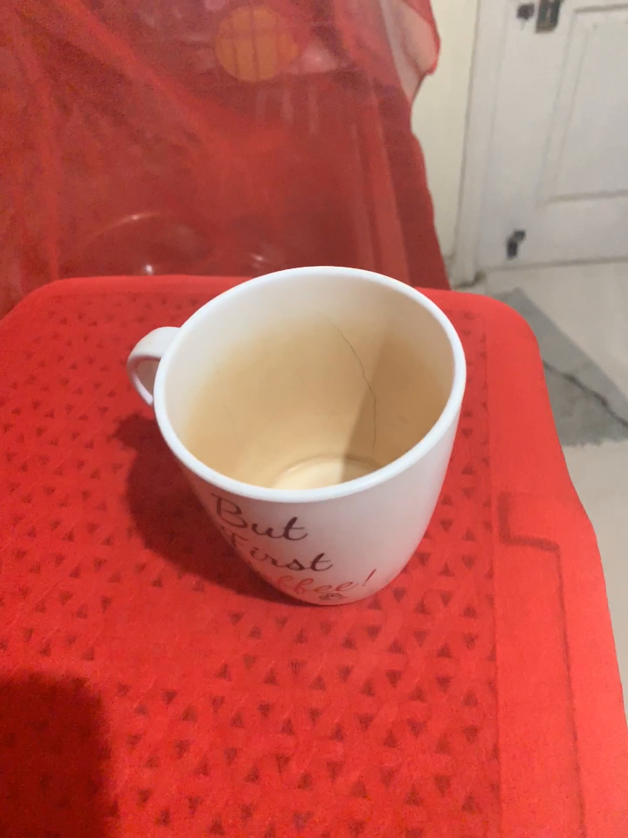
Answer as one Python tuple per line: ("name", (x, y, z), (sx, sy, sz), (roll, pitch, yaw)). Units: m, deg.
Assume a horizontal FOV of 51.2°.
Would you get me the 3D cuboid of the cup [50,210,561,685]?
("cup", (0.002, 0.004, 0.210), (0.110, 0.079, 0.090), (22, 56, 22))
